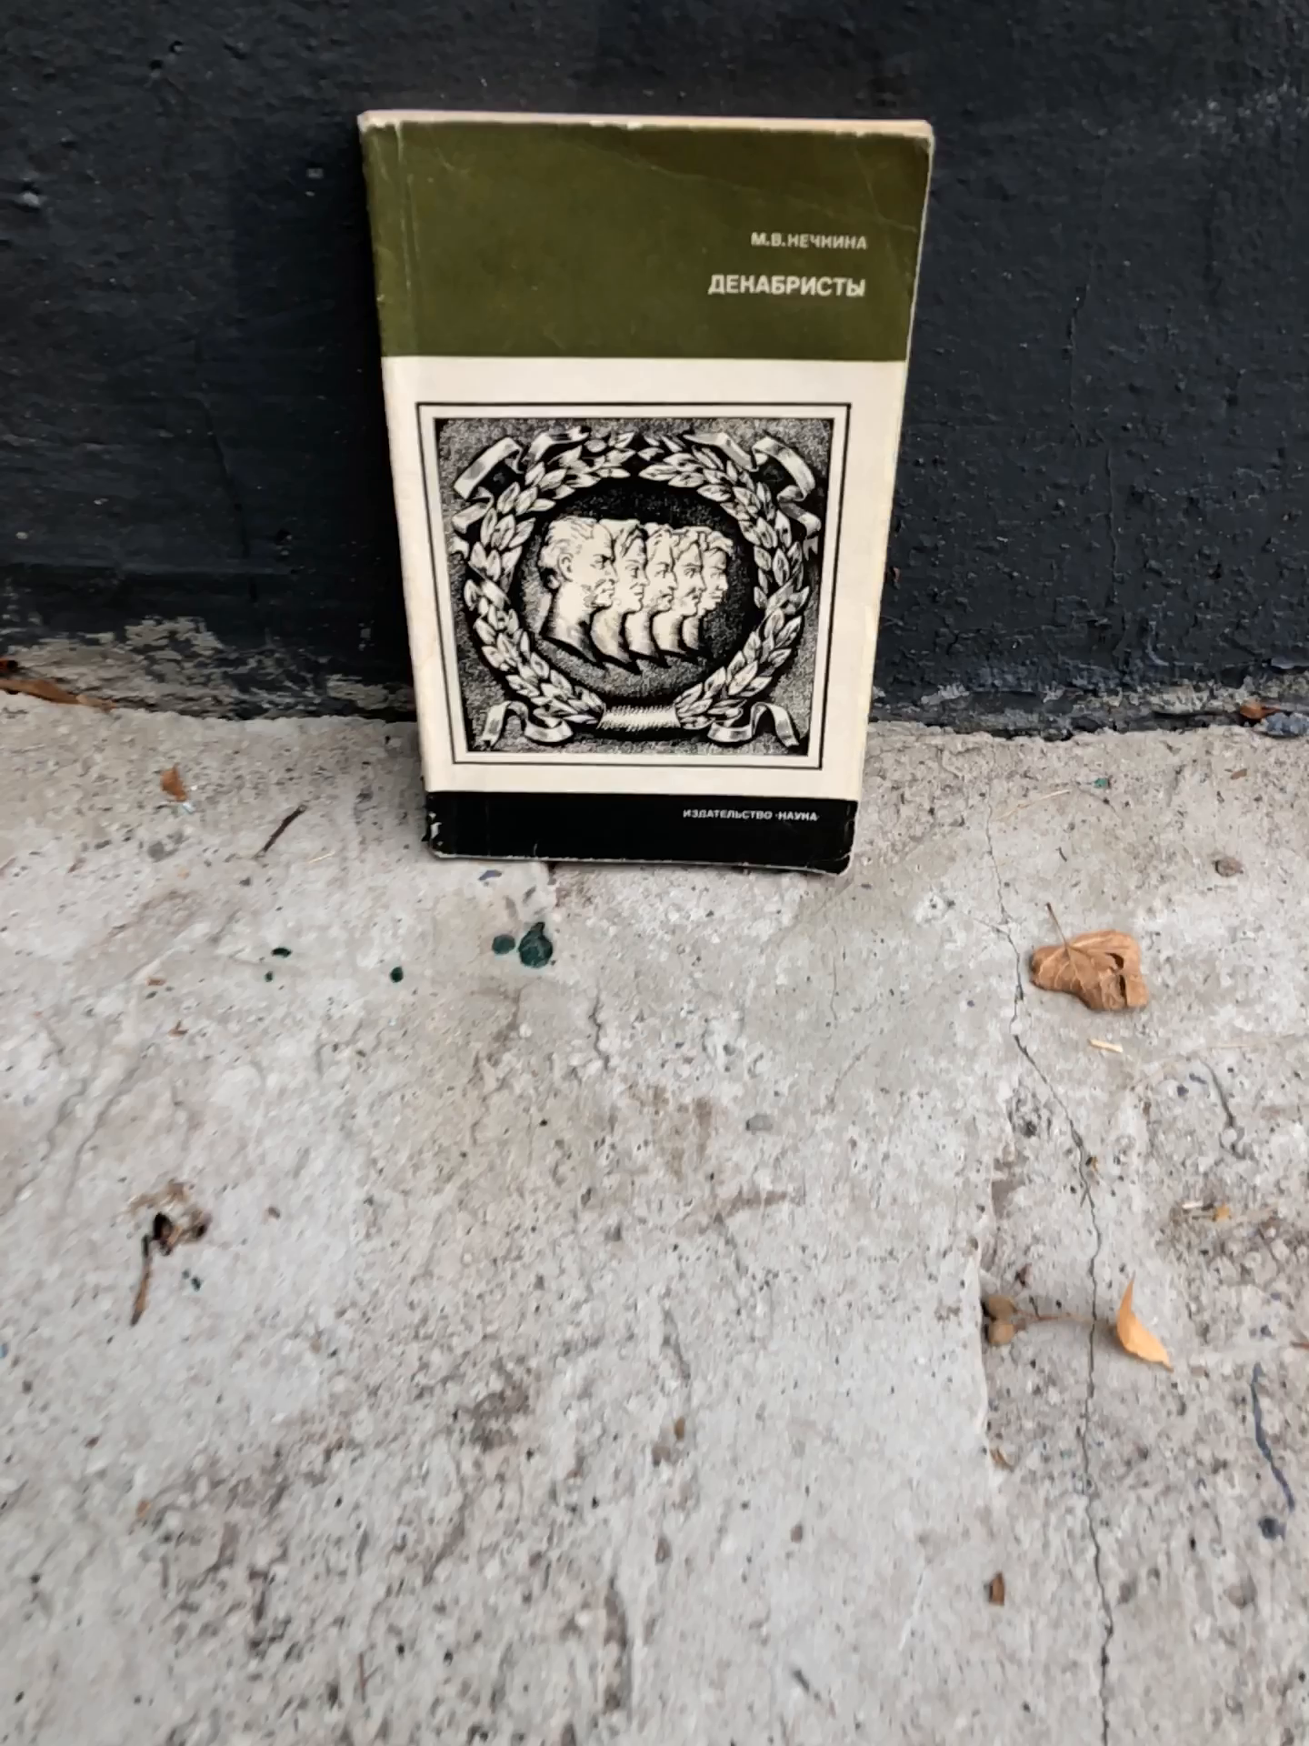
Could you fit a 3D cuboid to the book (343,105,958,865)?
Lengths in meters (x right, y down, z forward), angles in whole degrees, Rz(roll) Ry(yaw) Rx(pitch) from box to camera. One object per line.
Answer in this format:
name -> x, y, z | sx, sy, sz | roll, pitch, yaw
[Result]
book -> -0.002, -0.080, 0.333 | 0.120, 0.169, 0.020 | 1, 32, 0
